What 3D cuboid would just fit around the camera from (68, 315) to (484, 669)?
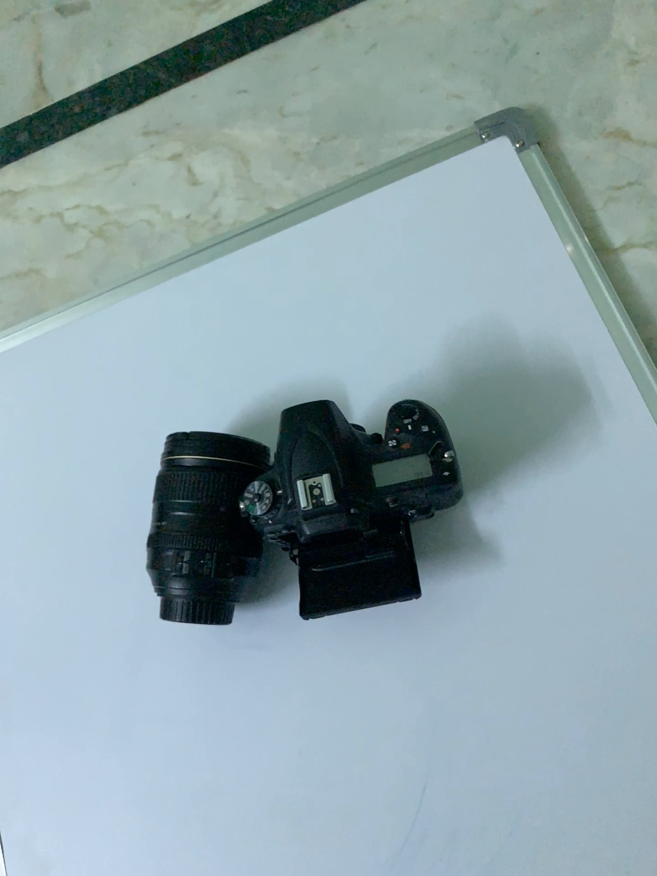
[{"bbox_3d":[-0.035,0.044,0.471,0.240,0.100,0.160,-18,72,8],"label":"camera"}]
